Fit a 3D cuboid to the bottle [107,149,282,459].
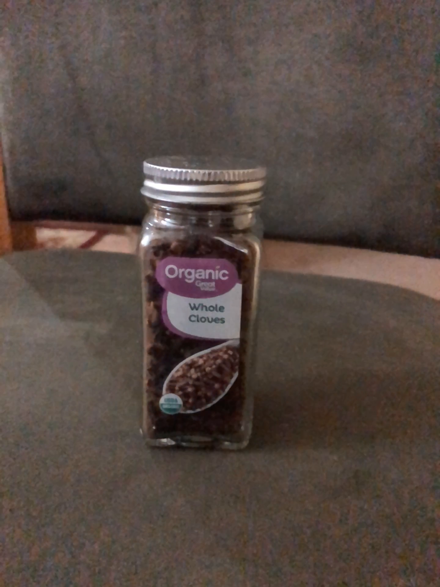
[{"bbox_3d":[-0.007,0.002,0.183,0.050,0.100,0.050,1,21,0],"label":"bottle"}]
